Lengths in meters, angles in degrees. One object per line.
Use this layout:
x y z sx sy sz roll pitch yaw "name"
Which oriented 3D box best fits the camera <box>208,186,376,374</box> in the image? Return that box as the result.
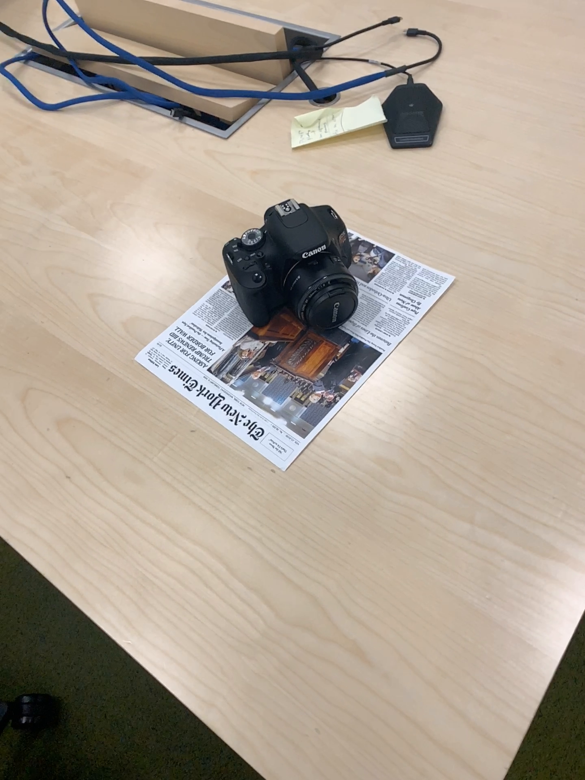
0.001 -0.112 0.616 0.124 0.100 0.122 -22 57 -6 "camera"
